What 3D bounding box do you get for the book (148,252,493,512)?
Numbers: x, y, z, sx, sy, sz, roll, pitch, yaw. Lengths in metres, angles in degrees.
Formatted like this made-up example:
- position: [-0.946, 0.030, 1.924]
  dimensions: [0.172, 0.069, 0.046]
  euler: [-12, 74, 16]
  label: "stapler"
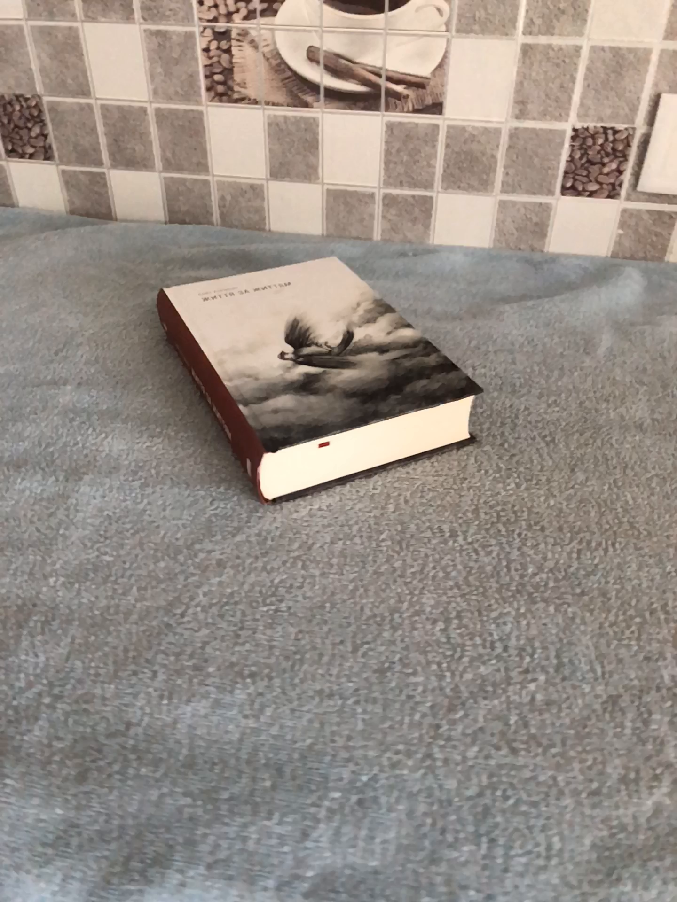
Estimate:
- position: [-0.024, -0.064, 0.514]
  dimensions: [0.155, 0.040, 0.221]
  euler: [-16, 42, -20]
  label: "book"
